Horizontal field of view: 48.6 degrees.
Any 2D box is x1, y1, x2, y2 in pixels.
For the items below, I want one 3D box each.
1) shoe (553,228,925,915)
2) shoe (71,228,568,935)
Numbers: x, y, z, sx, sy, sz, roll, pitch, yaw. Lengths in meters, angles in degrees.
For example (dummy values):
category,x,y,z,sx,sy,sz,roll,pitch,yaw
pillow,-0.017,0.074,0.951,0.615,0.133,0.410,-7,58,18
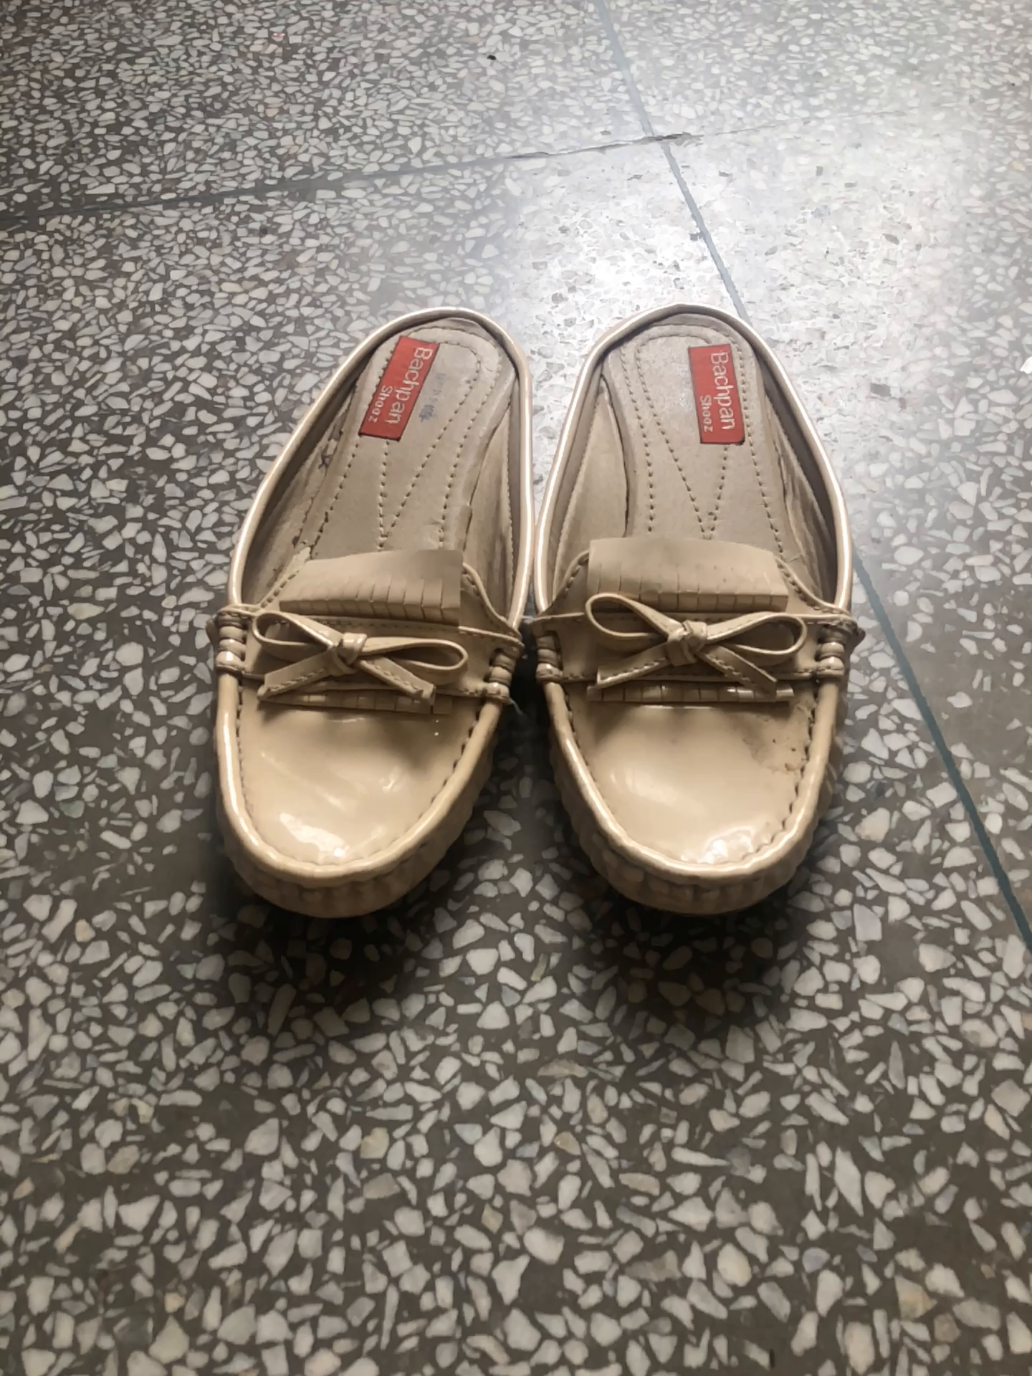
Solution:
category,x,y,z,sx,sy,sz,roll,pitch,yaw
shoe,0.056,-0.045,0.322,0.080,0.040,0.210,2,58,3
shoe,-0.042,-0.045,0.334,0.090,0.040,0.220,6,58,6
